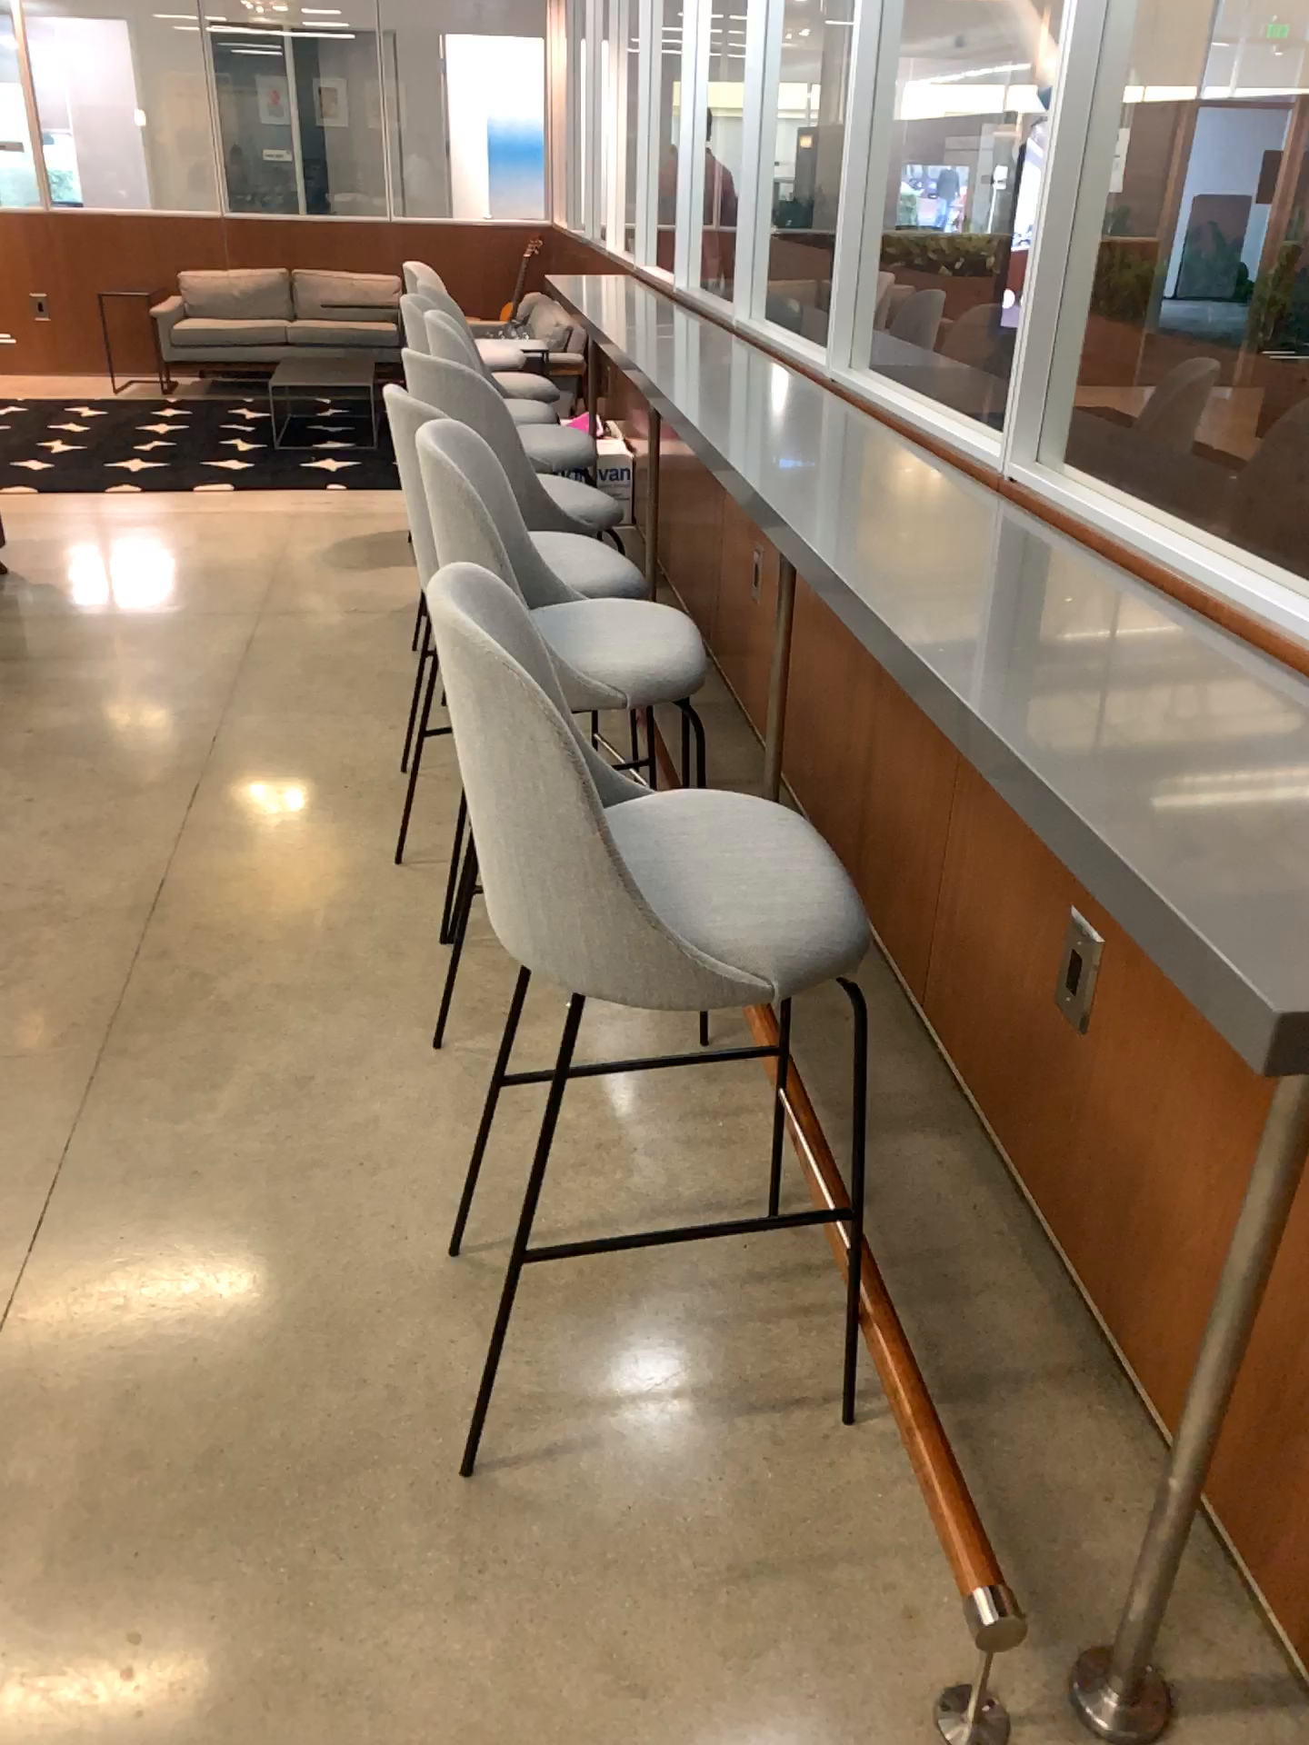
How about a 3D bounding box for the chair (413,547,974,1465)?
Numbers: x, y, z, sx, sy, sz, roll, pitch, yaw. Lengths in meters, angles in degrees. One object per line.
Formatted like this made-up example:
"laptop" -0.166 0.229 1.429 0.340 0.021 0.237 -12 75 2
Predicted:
"chair" 0.003 0.167 1.680 0.510 1.034 0.412 -6 28 -15
